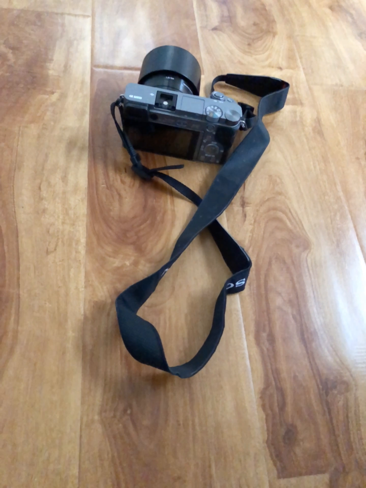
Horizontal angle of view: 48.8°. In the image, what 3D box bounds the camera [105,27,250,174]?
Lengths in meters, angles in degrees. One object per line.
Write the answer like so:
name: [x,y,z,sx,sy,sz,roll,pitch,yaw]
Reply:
camera: [-0.005,-0.157,0.448,0.140,0.080,0.110,9,59,-5]
